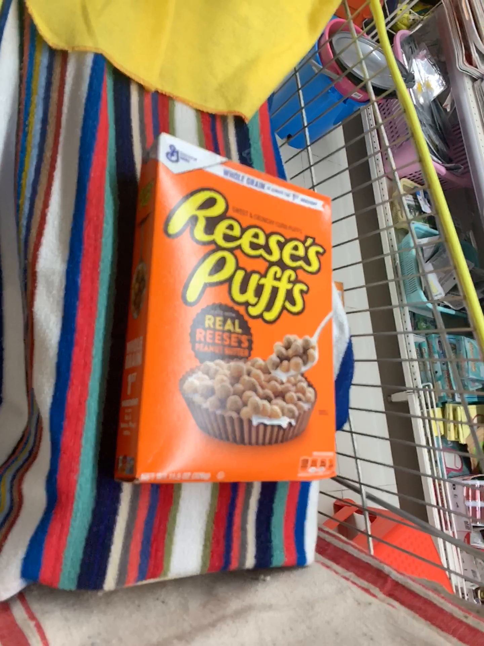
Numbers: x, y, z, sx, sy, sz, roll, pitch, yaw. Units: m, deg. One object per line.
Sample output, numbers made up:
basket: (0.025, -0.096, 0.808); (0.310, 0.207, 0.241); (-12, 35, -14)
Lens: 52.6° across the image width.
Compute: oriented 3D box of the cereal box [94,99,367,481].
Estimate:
cereal box: (0.003, -0.011, 0.408); (0.201, 0.080, 0.260); (11, 76, -32)
